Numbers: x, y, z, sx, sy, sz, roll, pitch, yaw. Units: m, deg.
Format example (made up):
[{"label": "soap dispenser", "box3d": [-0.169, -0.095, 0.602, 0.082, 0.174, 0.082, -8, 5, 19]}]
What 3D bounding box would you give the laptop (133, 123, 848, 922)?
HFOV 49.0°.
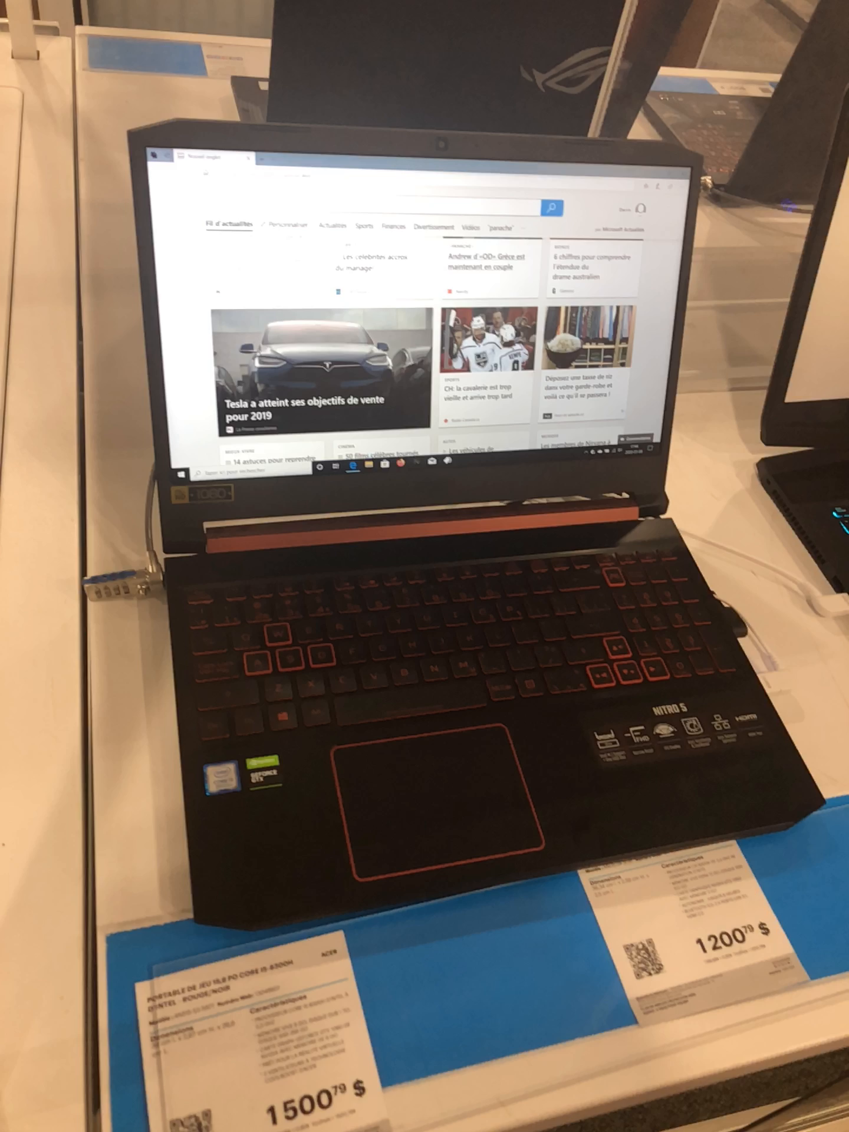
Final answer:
[{"label": "laptop", "box3d": [0.038, -0.051, 0.527, 0.357, 0.211, 0.359, -5, 51, -16]}]
